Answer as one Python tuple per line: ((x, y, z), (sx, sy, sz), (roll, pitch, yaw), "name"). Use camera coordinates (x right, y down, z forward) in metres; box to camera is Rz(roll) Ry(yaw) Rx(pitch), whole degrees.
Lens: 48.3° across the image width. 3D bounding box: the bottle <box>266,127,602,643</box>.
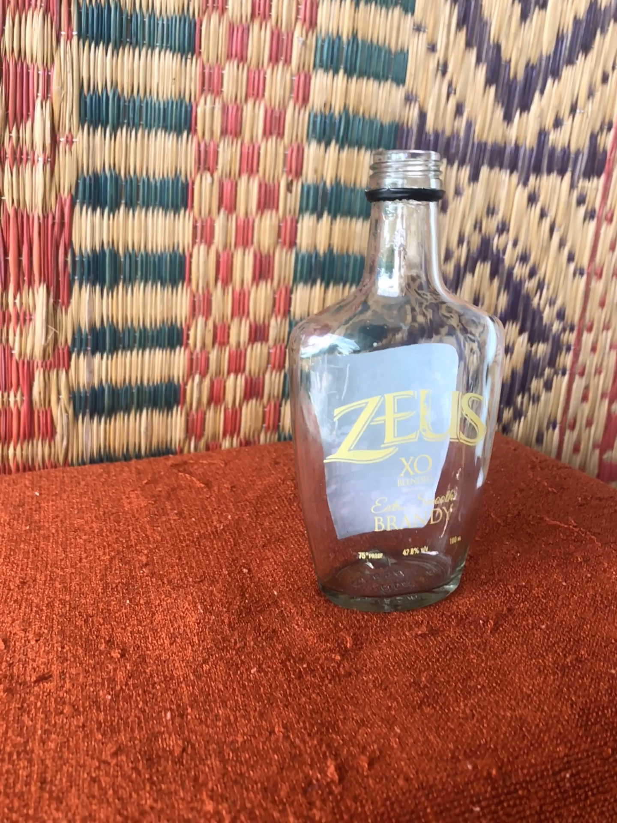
((0.033, -0.007, 0.222), (0.080, 0.149, 0.040), (-2, 19, -17), "bottle")
